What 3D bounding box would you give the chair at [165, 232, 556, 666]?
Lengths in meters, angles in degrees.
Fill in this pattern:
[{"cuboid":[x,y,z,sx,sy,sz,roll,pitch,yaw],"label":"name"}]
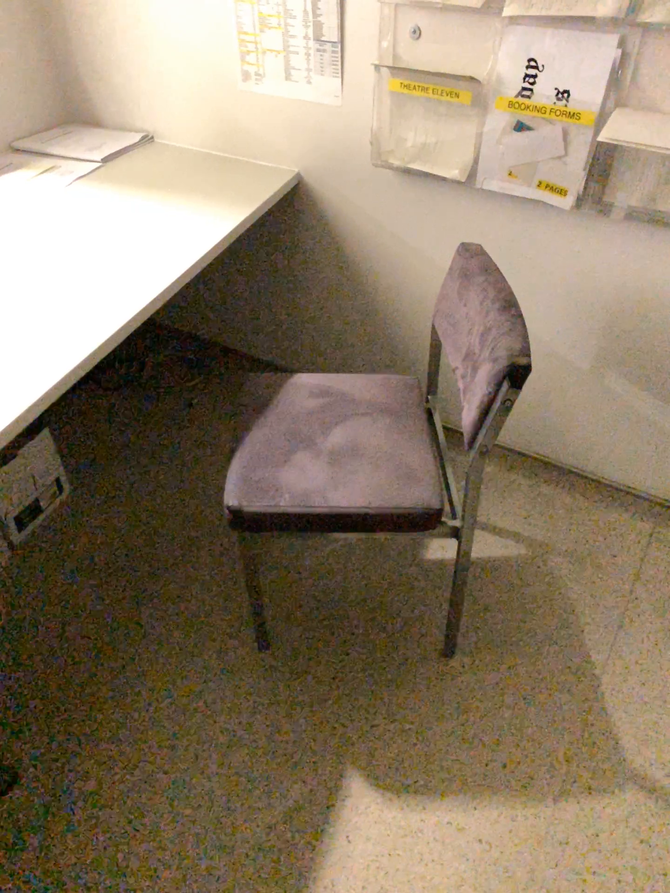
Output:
[{"cuboid":[0.042,0.003,1.387,0.550,0.663,0.576,-1,40,1],"label":"chair"}]
